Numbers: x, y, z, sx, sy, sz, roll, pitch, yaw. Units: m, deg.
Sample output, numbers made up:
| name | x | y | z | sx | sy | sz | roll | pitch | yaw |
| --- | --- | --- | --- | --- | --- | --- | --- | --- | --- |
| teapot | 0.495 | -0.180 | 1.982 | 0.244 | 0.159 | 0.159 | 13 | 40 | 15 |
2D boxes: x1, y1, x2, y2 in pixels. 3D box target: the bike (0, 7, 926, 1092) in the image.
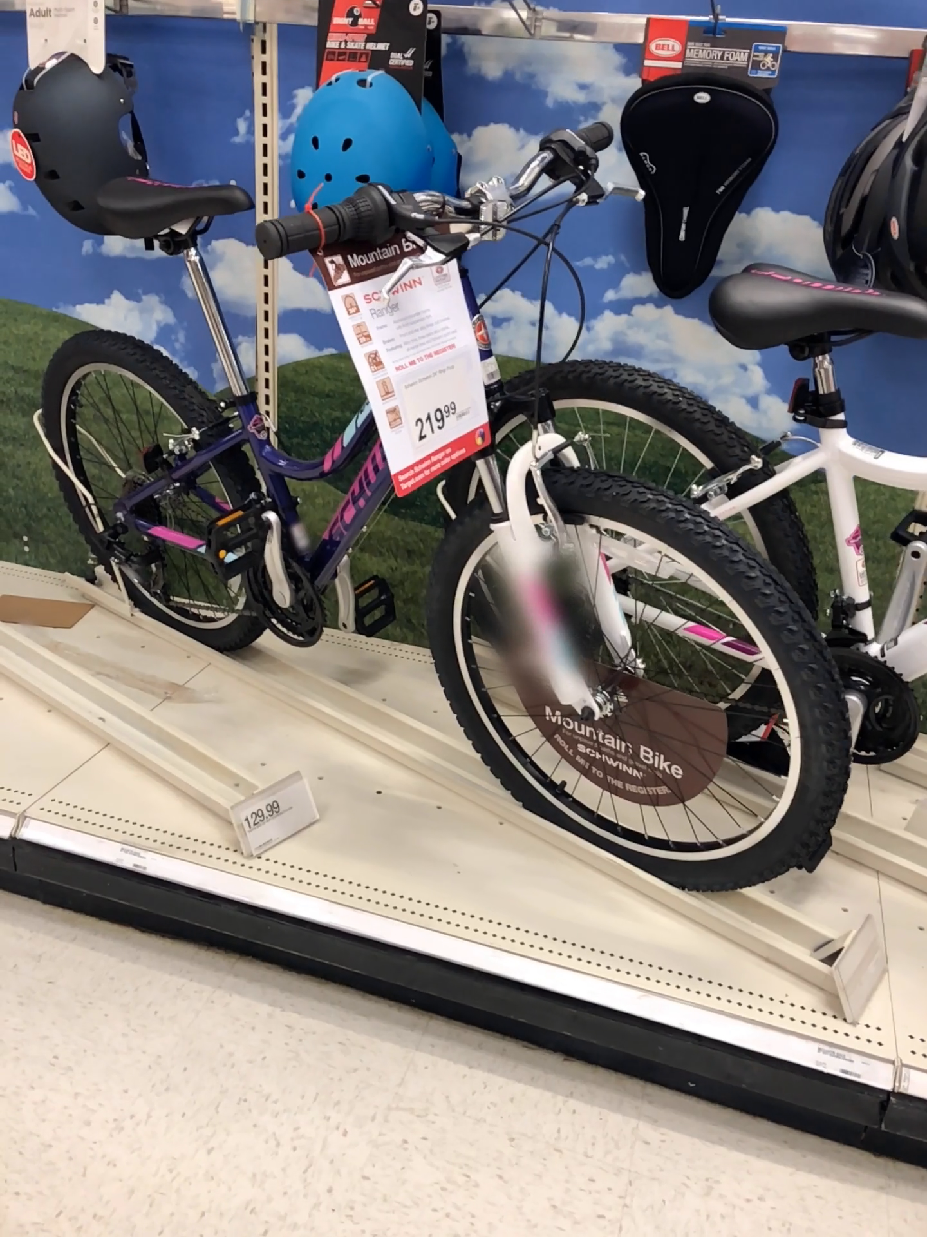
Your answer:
| name | x | y | z | sx | sy | sz | roll | pitch | yaw |
| --- | --- | --- | --- | --- | --- | --- | --- | --- | --- |
| bike | -0.121 | -0.225 | 1.285 | 0.569 | 0.799 | 1.225 | -18 | 31 | -41 |
